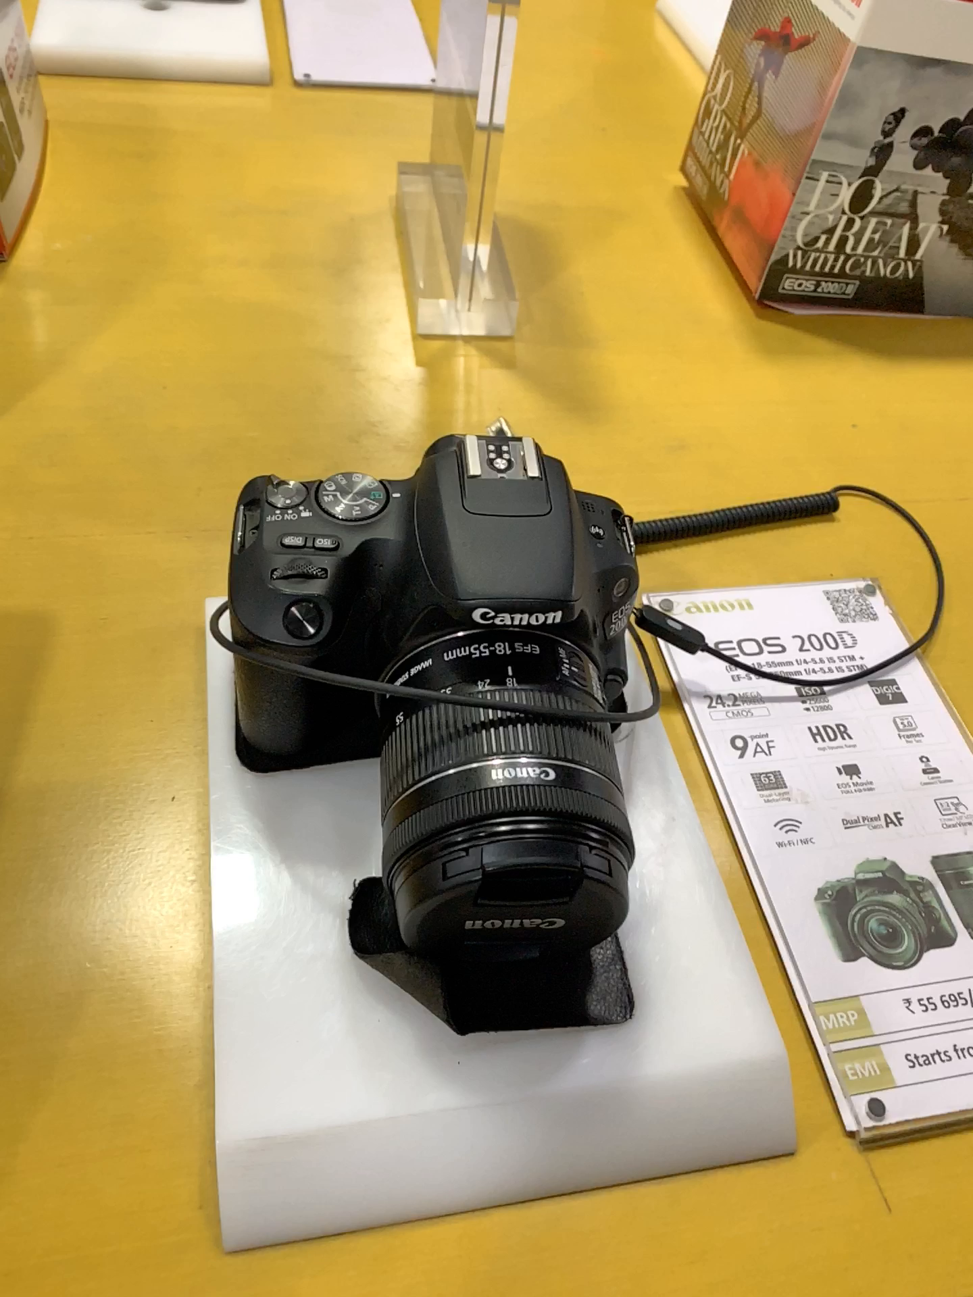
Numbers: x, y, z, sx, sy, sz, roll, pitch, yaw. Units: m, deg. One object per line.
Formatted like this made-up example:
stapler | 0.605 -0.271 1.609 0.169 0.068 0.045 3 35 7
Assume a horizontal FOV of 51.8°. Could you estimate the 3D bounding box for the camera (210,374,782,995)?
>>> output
camera | -0.010 0.000 0.284 0.120 0.070 0.160 -2 50 -10
